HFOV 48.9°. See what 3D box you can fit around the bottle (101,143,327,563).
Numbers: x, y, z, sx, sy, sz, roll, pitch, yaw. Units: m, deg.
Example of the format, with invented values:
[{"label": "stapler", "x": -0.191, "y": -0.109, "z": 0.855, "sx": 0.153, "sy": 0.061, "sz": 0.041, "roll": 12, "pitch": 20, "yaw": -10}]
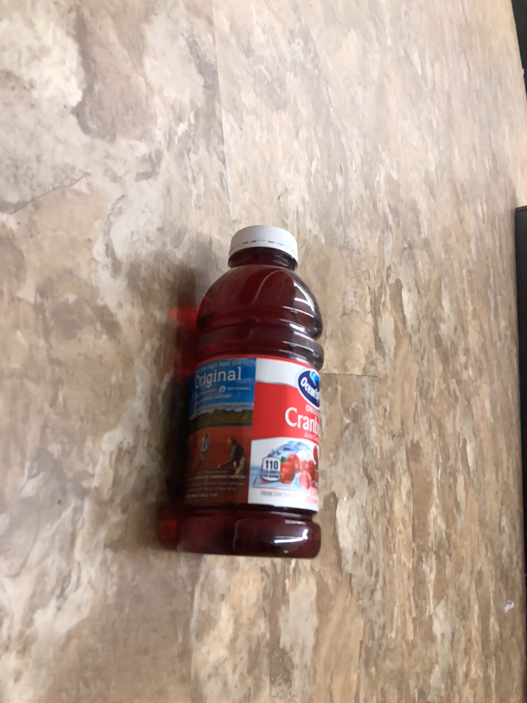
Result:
[{"label": "bottle", "x": -0.020, "y": 0.005, "z": 0.352, "sx": 0.090, "sy": 0.083, "sz": 0.226, "roll": 32, "pitch": 55, "yaw": -53}]
